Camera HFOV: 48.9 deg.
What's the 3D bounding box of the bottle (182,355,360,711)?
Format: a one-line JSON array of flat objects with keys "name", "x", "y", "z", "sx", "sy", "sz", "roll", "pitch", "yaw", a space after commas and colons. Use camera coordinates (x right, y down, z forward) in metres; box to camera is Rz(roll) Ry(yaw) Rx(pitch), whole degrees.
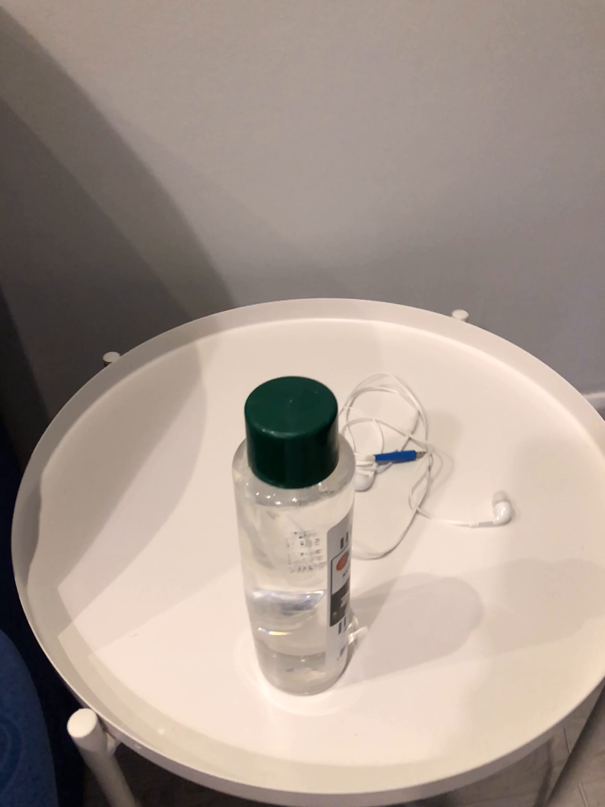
[{"name": "bottle", "x": -0.010, "y": 0.076, "z": 0.339, "sx": 0.059, "sy": 0.199, "sz": 0.052, "roll": 12, "pitch": 42, "yaw": 15}]
